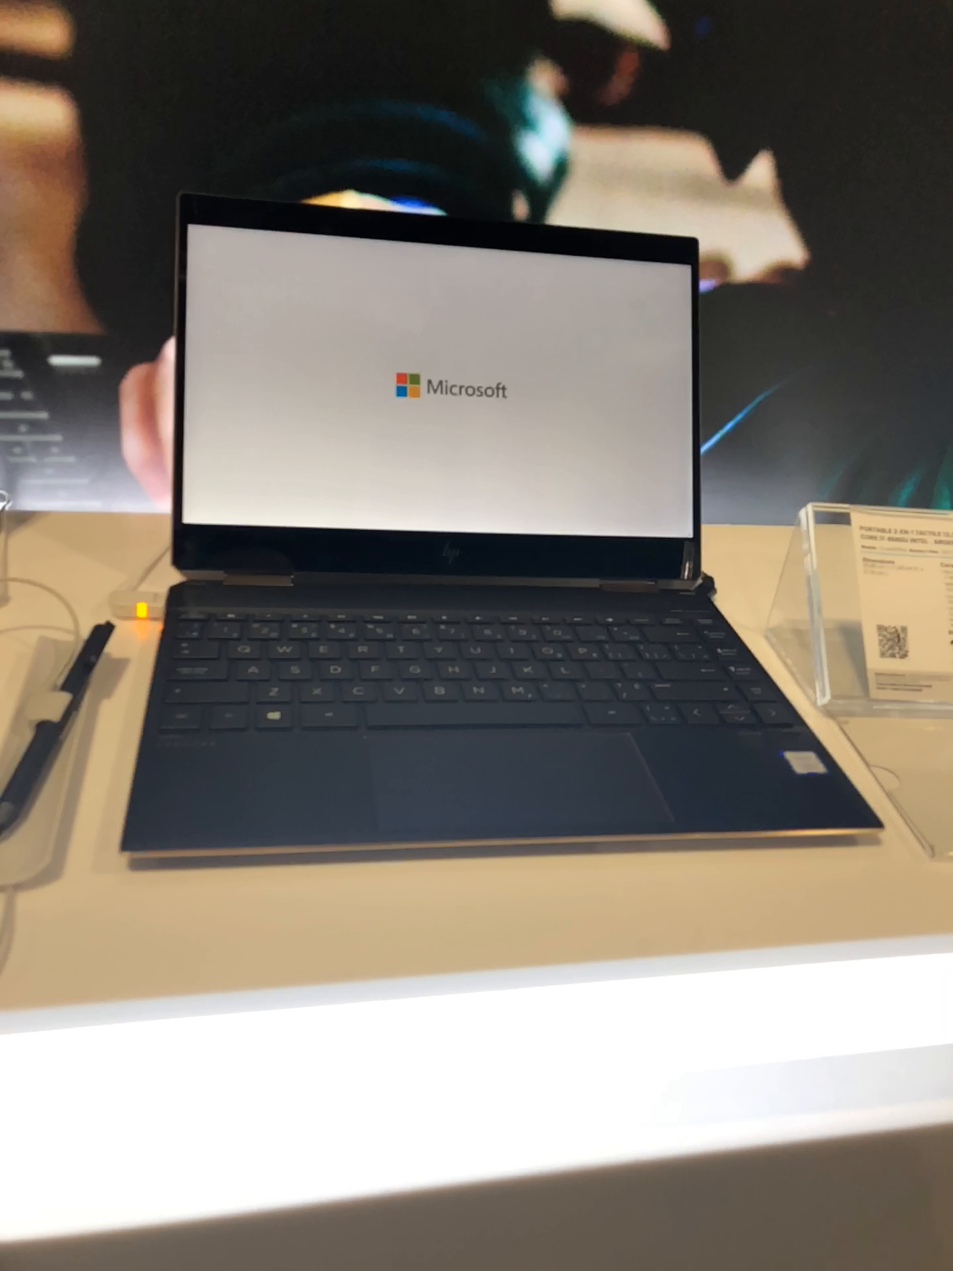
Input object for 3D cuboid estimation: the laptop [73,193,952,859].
[{"bbox_3d":[0.004,-0.084,0.502,0.305,0.172,0.347,0,30,-11],"label":"laptop"}]
